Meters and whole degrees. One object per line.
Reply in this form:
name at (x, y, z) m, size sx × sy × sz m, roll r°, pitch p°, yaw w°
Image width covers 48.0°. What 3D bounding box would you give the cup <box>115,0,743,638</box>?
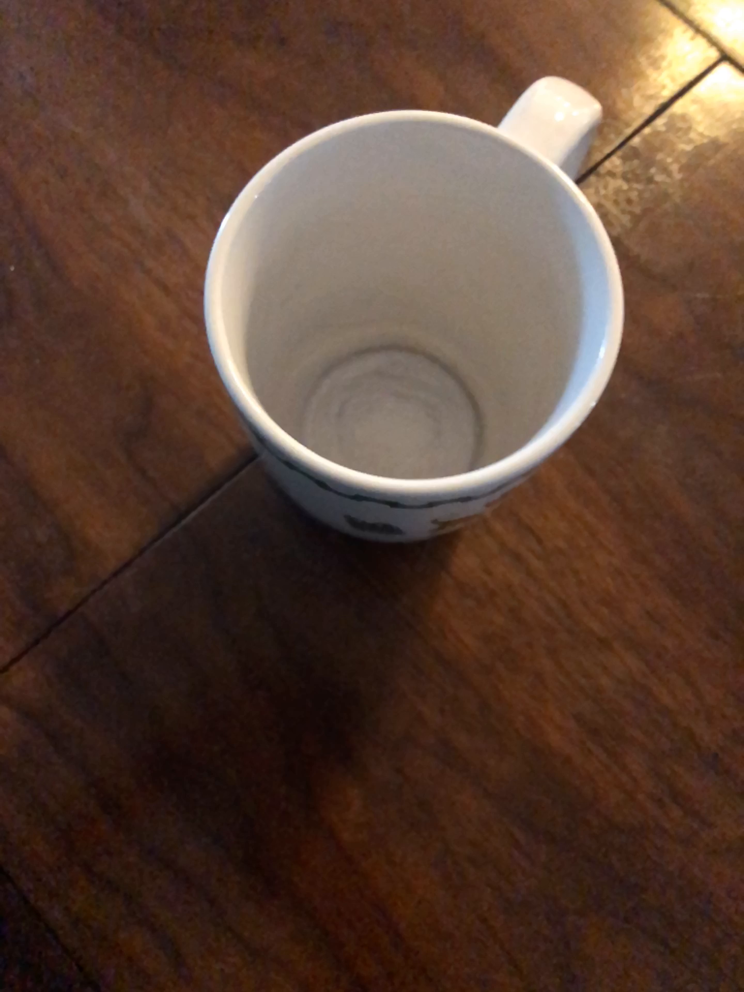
cup at (0.024, -0.056, 0.276) m, size 0.110 × 0.120 × 0.160 m, roll 31°, pitch 77°, yaw 5°
